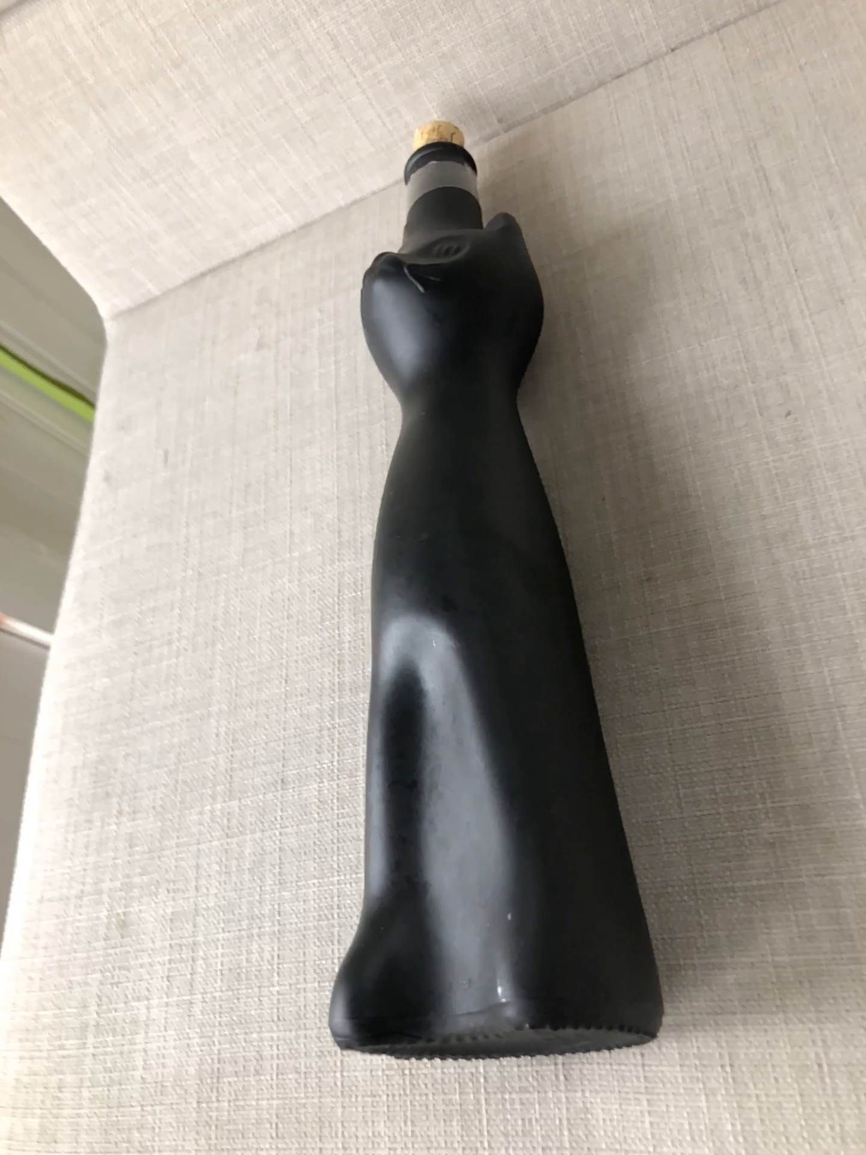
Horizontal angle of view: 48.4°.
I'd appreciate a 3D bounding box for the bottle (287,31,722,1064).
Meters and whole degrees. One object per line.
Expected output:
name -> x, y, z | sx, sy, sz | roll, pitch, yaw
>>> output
bottle -> 0.010, -0.025, 0.303 | 0.077, 0.079, 0.312 | -17, 60, 21
